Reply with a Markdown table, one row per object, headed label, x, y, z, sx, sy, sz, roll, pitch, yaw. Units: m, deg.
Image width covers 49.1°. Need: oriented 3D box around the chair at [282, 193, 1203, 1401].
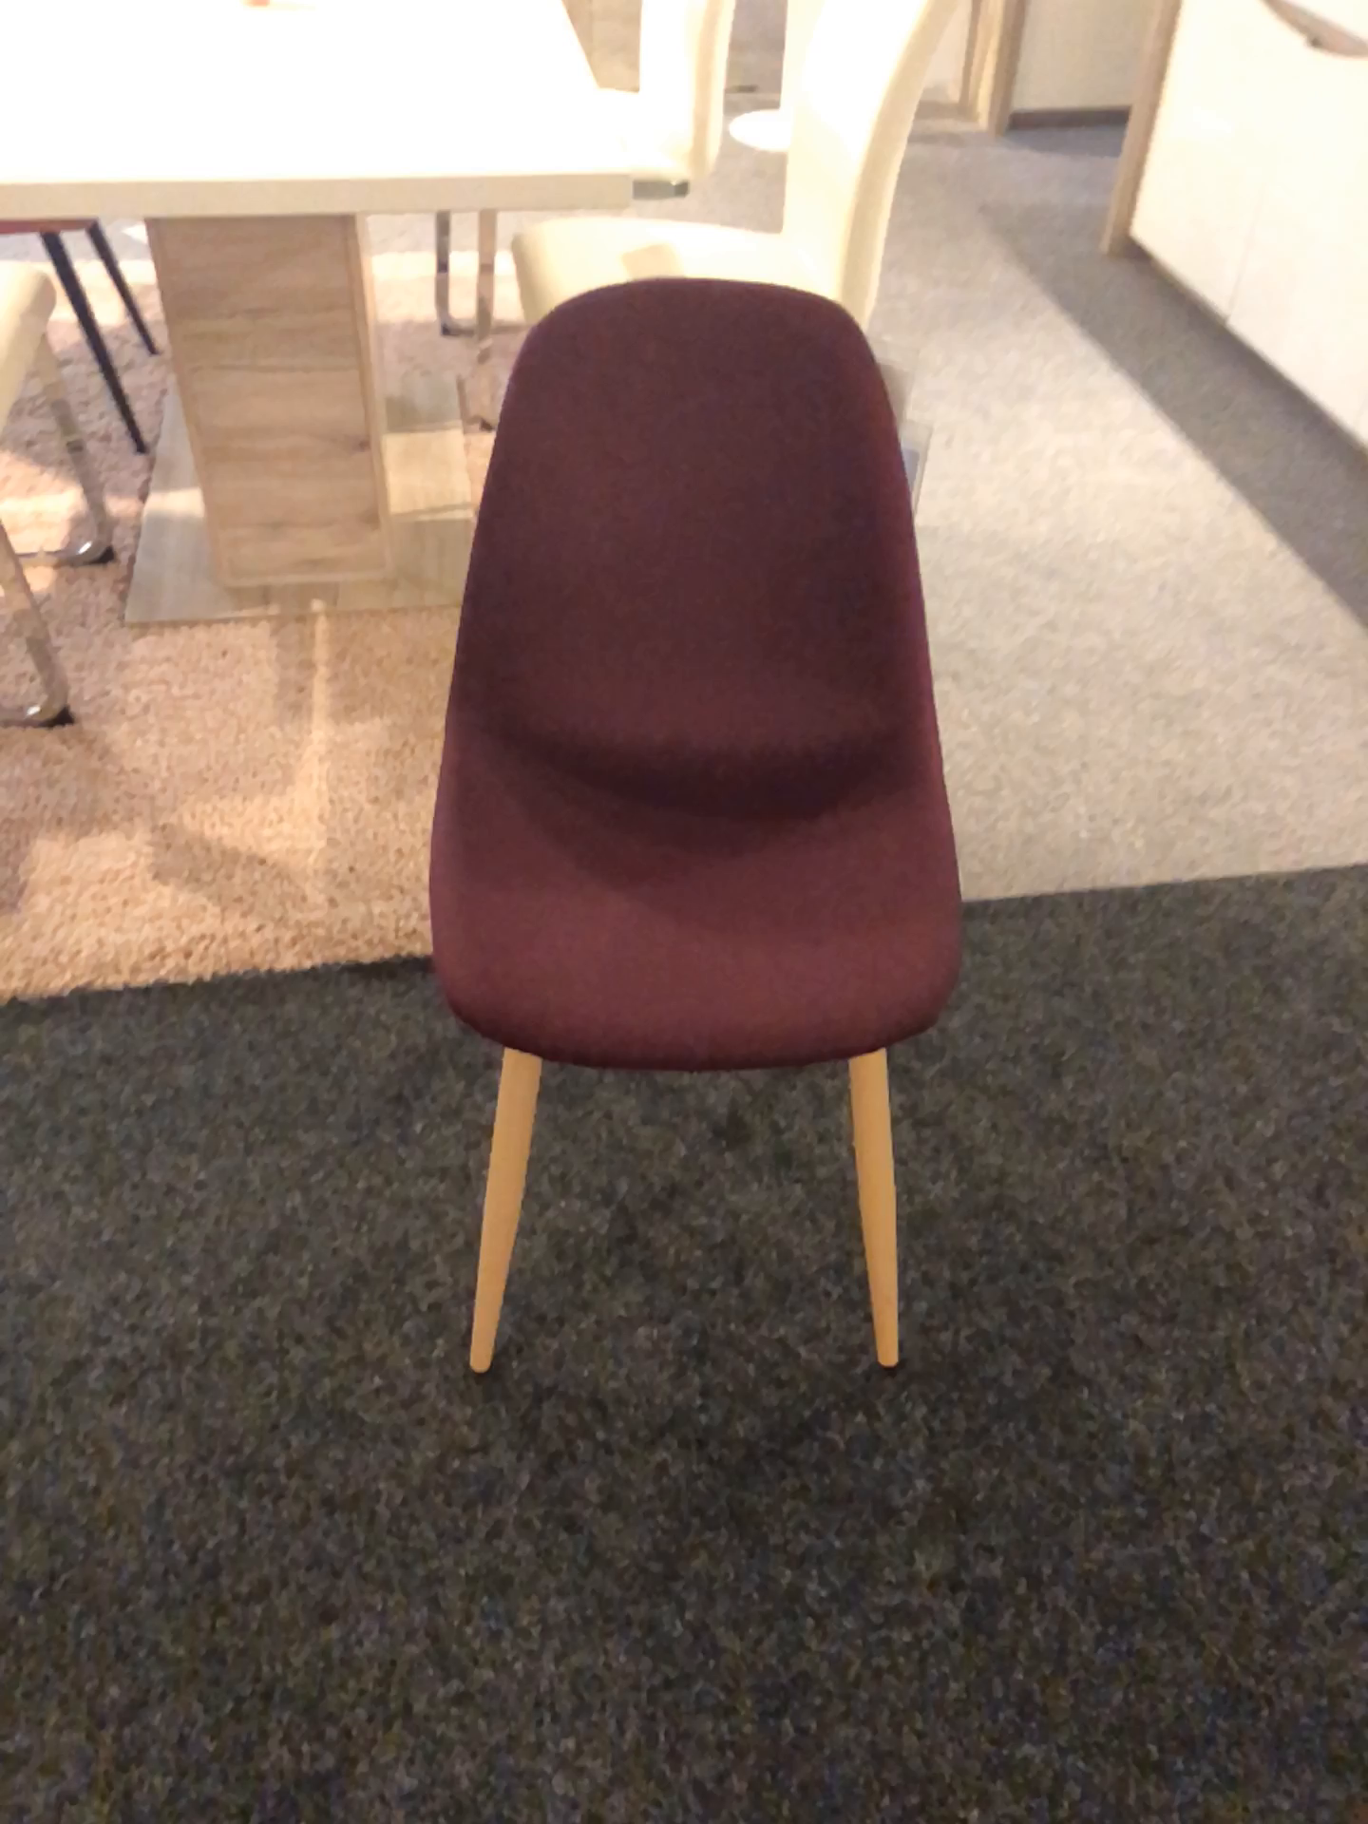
| label | x | y | z | sx | sy | sz | roll | pitch | yaw |
| --- | --- | --- | --- | --- | --- | --- | --- | --- | --- |
| chair | 0.004 | -0.076 | 1.236 | 0.470 | 0.795 | 0.573 | -1 | 42 | -4 |
